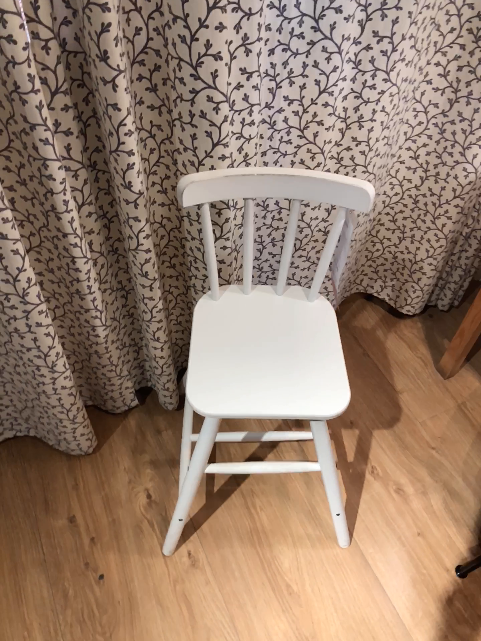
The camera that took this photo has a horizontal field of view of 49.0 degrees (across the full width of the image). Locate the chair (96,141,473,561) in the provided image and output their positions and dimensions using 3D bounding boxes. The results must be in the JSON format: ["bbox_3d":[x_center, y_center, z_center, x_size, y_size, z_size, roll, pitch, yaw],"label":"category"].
[{"bbox_3d":[0.028,0.104,1.000,0.420,0.706,0.452,-2,51,-4],"label":"chair"}]
